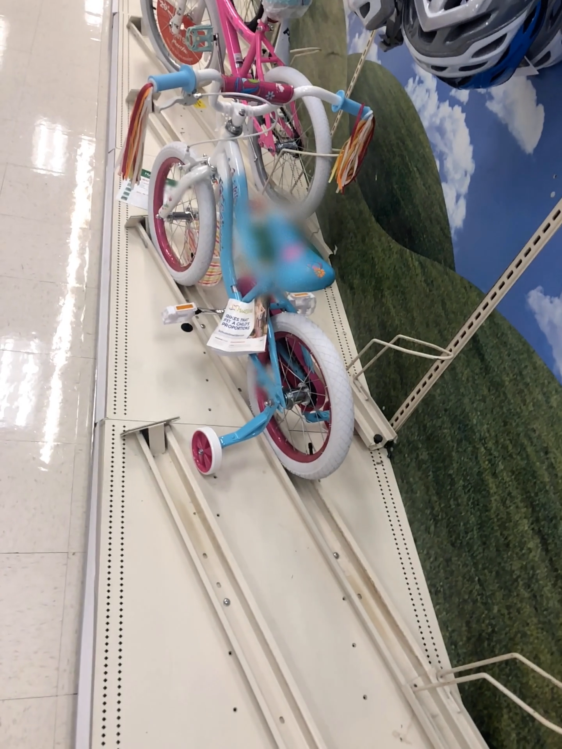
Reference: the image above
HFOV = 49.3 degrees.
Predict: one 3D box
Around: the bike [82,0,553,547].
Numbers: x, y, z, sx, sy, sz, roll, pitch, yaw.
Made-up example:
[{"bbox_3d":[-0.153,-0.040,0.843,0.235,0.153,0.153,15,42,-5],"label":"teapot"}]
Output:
[{"bbox_3d":[-0.041,-0.327,1.535,0.533,0.724,1.093,-13,58,-33],"label":"bike"}]
